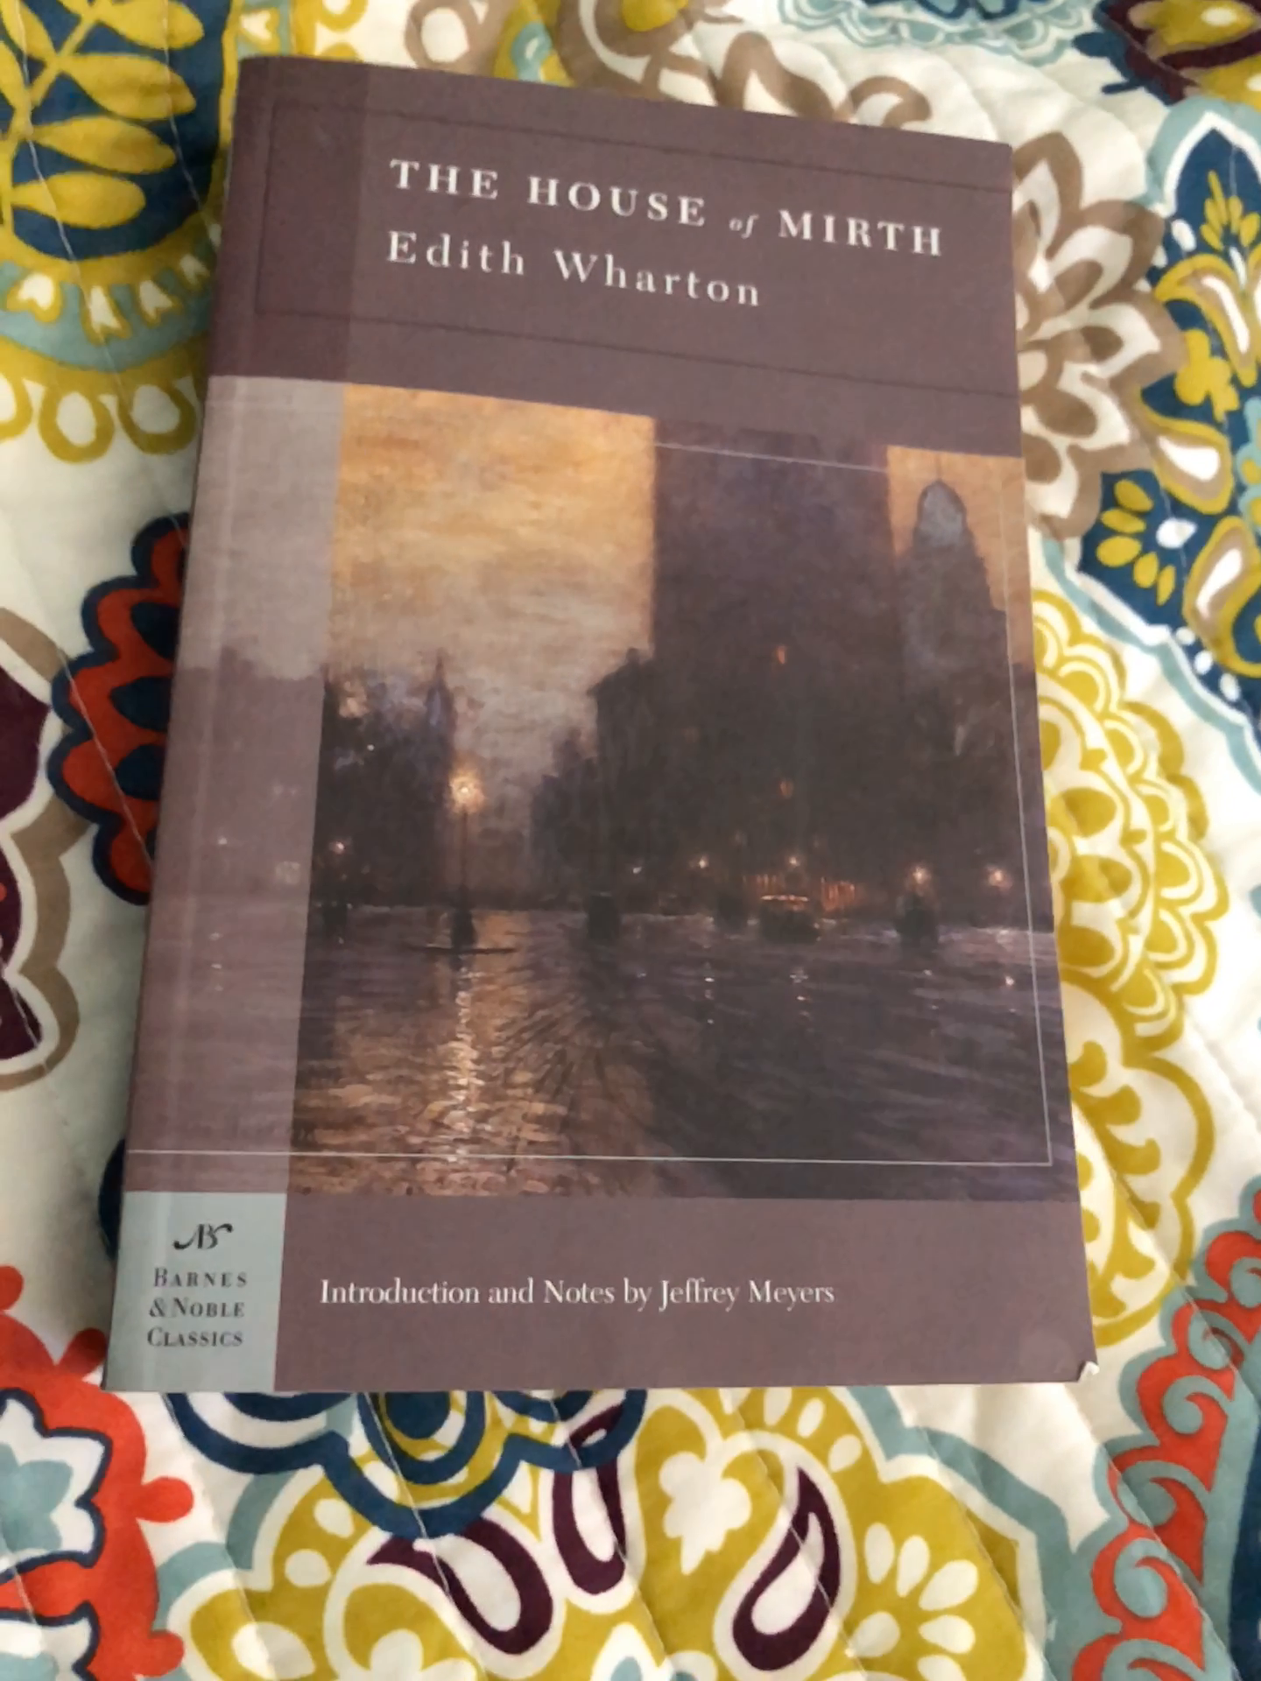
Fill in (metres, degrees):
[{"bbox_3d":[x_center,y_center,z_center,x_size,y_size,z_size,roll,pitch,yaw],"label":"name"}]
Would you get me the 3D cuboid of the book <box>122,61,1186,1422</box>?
[{"bbox_3d":[0.006,-0.016,0.225,0.142,0.040,0.195,2,79,-8],"label":"book"}]
